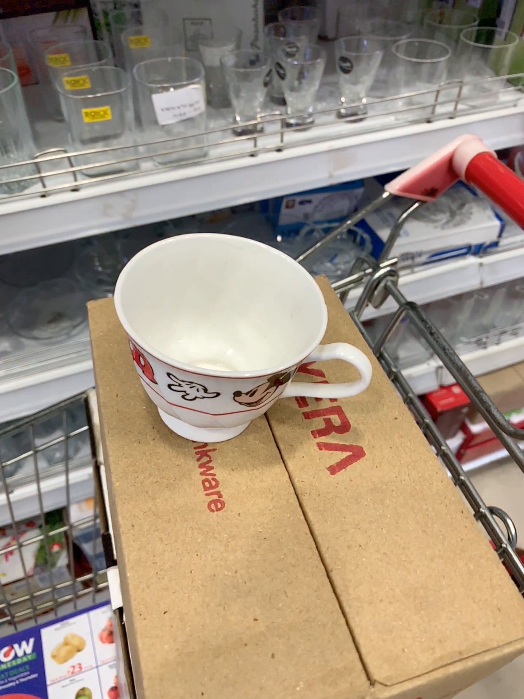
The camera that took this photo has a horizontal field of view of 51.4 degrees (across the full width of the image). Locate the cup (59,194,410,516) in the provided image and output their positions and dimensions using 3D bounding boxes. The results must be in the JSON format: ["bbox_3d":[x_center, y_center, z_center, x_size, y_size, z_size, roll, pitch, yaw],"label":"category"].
[{"bbox_3d":[-0.007,-0.001,0.214,0.100,0.060,0.080,19,50,10],"label":"cup"}]
